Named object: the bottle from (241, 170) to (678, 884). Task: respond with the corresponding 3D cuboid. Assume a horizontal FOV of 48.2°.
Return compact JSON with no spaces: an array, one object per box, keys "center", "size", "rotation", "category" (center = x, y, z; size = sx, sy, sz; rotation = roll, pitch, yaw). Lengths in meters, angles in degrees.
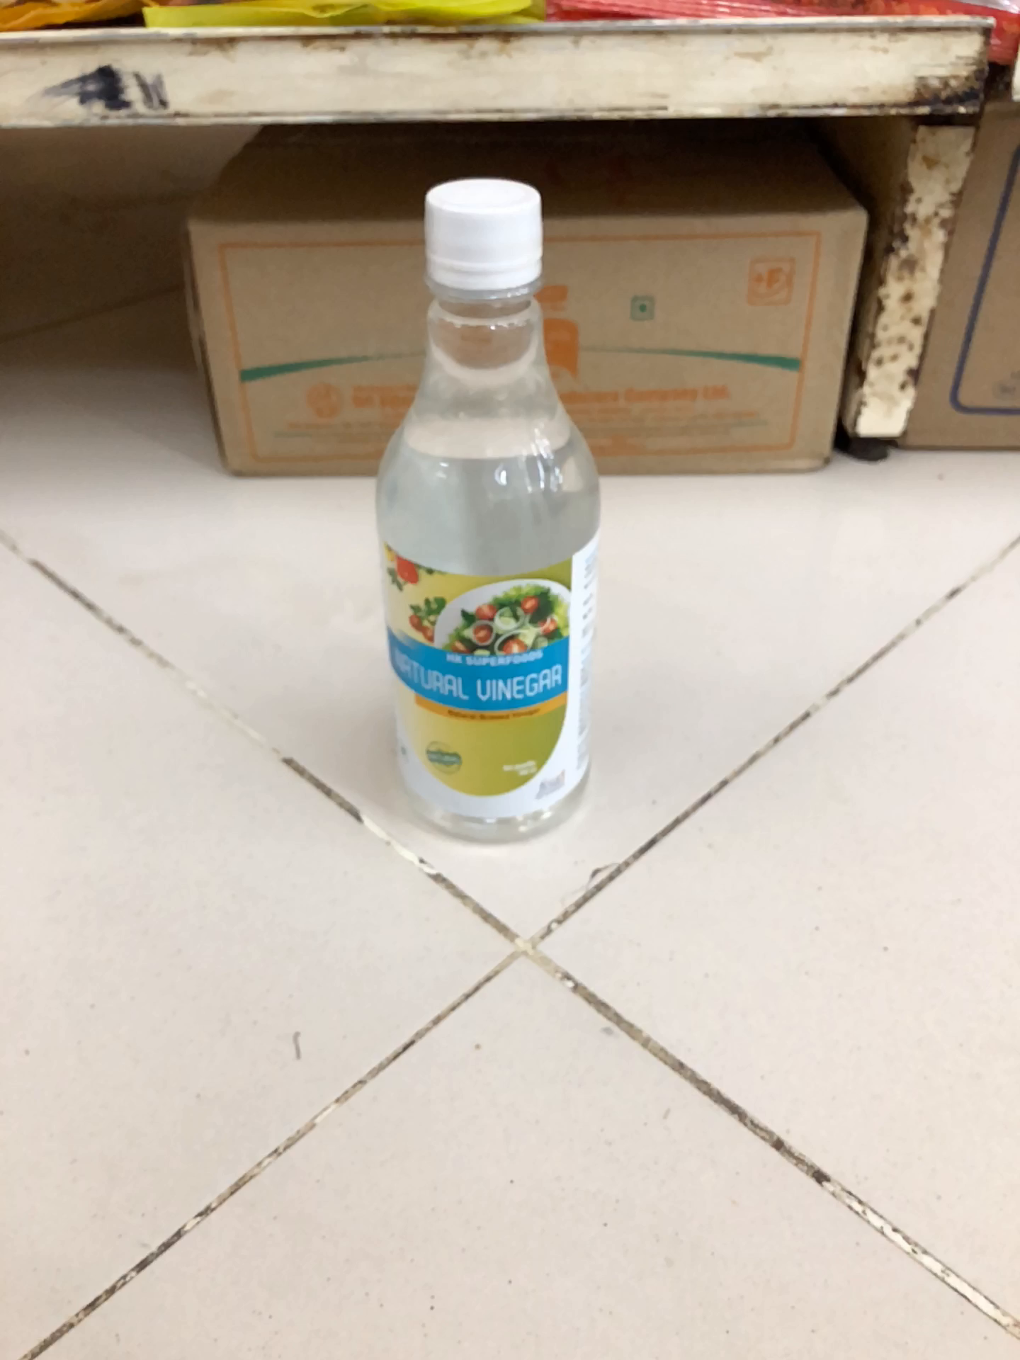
[{"center":[-0.009,-0.046,0.373],"size":[0.090,0.199,0.091],"rotation":[-1,38,1],"category":"bottle"}]
